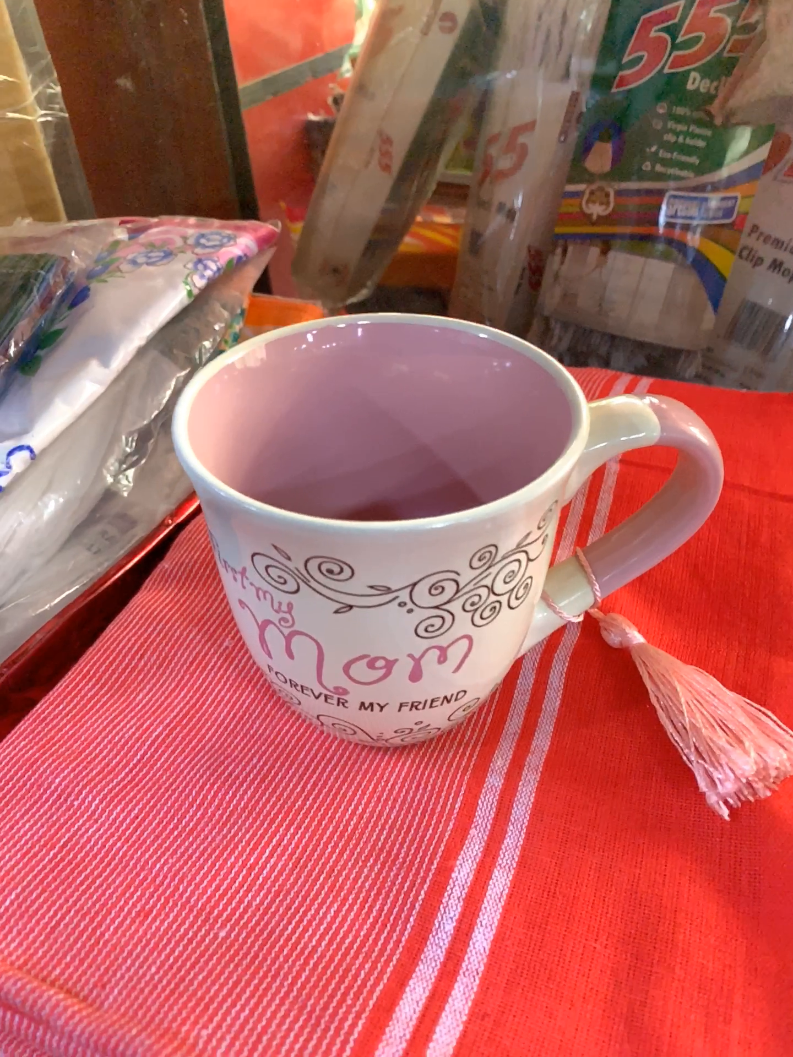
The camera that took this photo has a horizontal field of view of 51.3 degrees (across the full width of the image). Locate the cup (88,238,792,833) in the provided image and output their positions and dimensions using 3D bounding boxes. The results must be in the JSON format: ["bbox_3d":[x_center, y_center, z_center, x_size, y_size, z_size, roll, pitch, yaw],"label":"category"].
[{"bbox_3d":[0.004,-0.006,0.196,0.125,0.075,0.086,-15,42,-13],"label":"cup"}]
